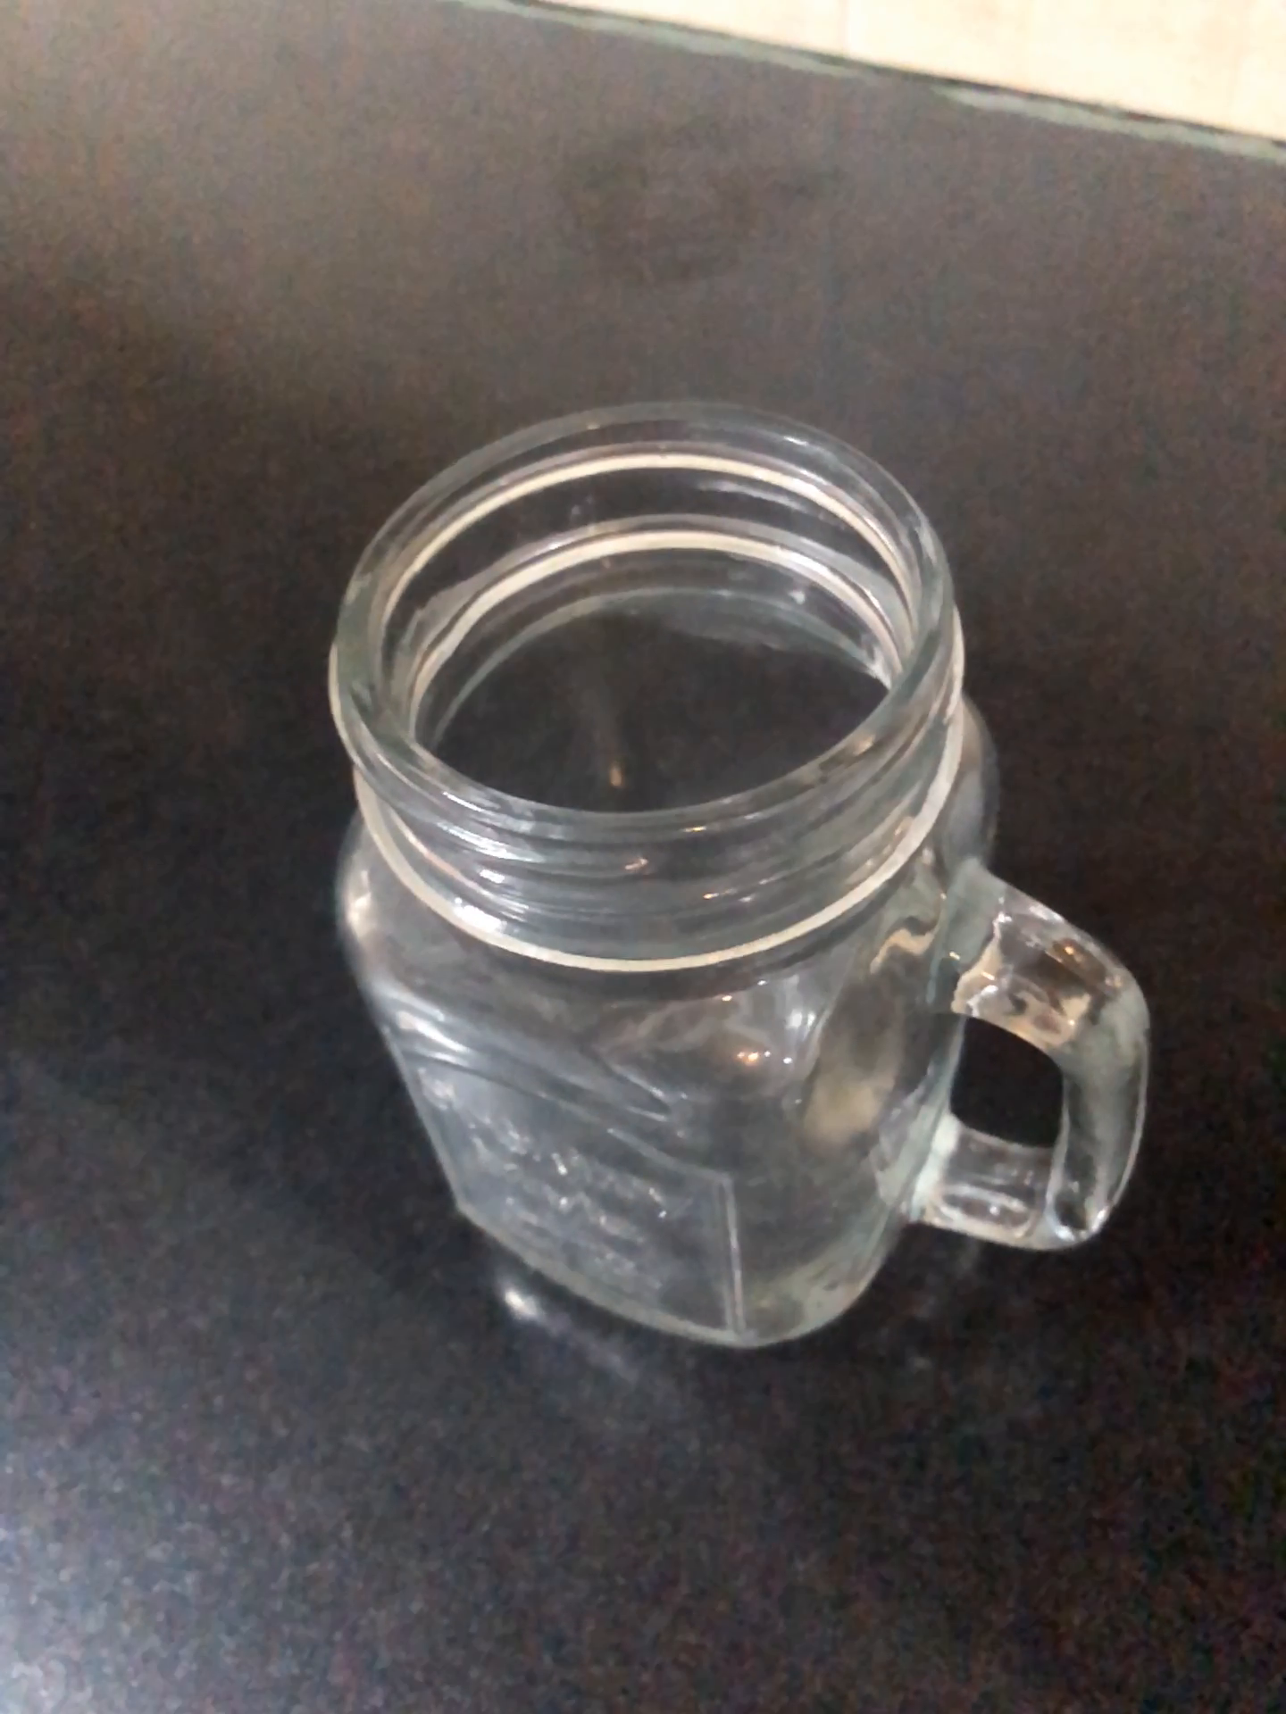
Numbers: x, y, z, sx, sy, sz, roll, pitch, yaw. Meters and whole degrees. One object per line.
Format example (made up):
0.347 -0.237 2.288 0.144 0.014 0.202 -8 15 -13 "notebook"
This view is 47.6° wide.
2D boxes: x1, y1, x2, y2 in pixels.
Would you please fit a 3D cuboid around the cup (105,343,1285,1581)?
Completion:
0.017 0.019 0.202 0.110 0.129 0.080 21 57 21 "cup"
